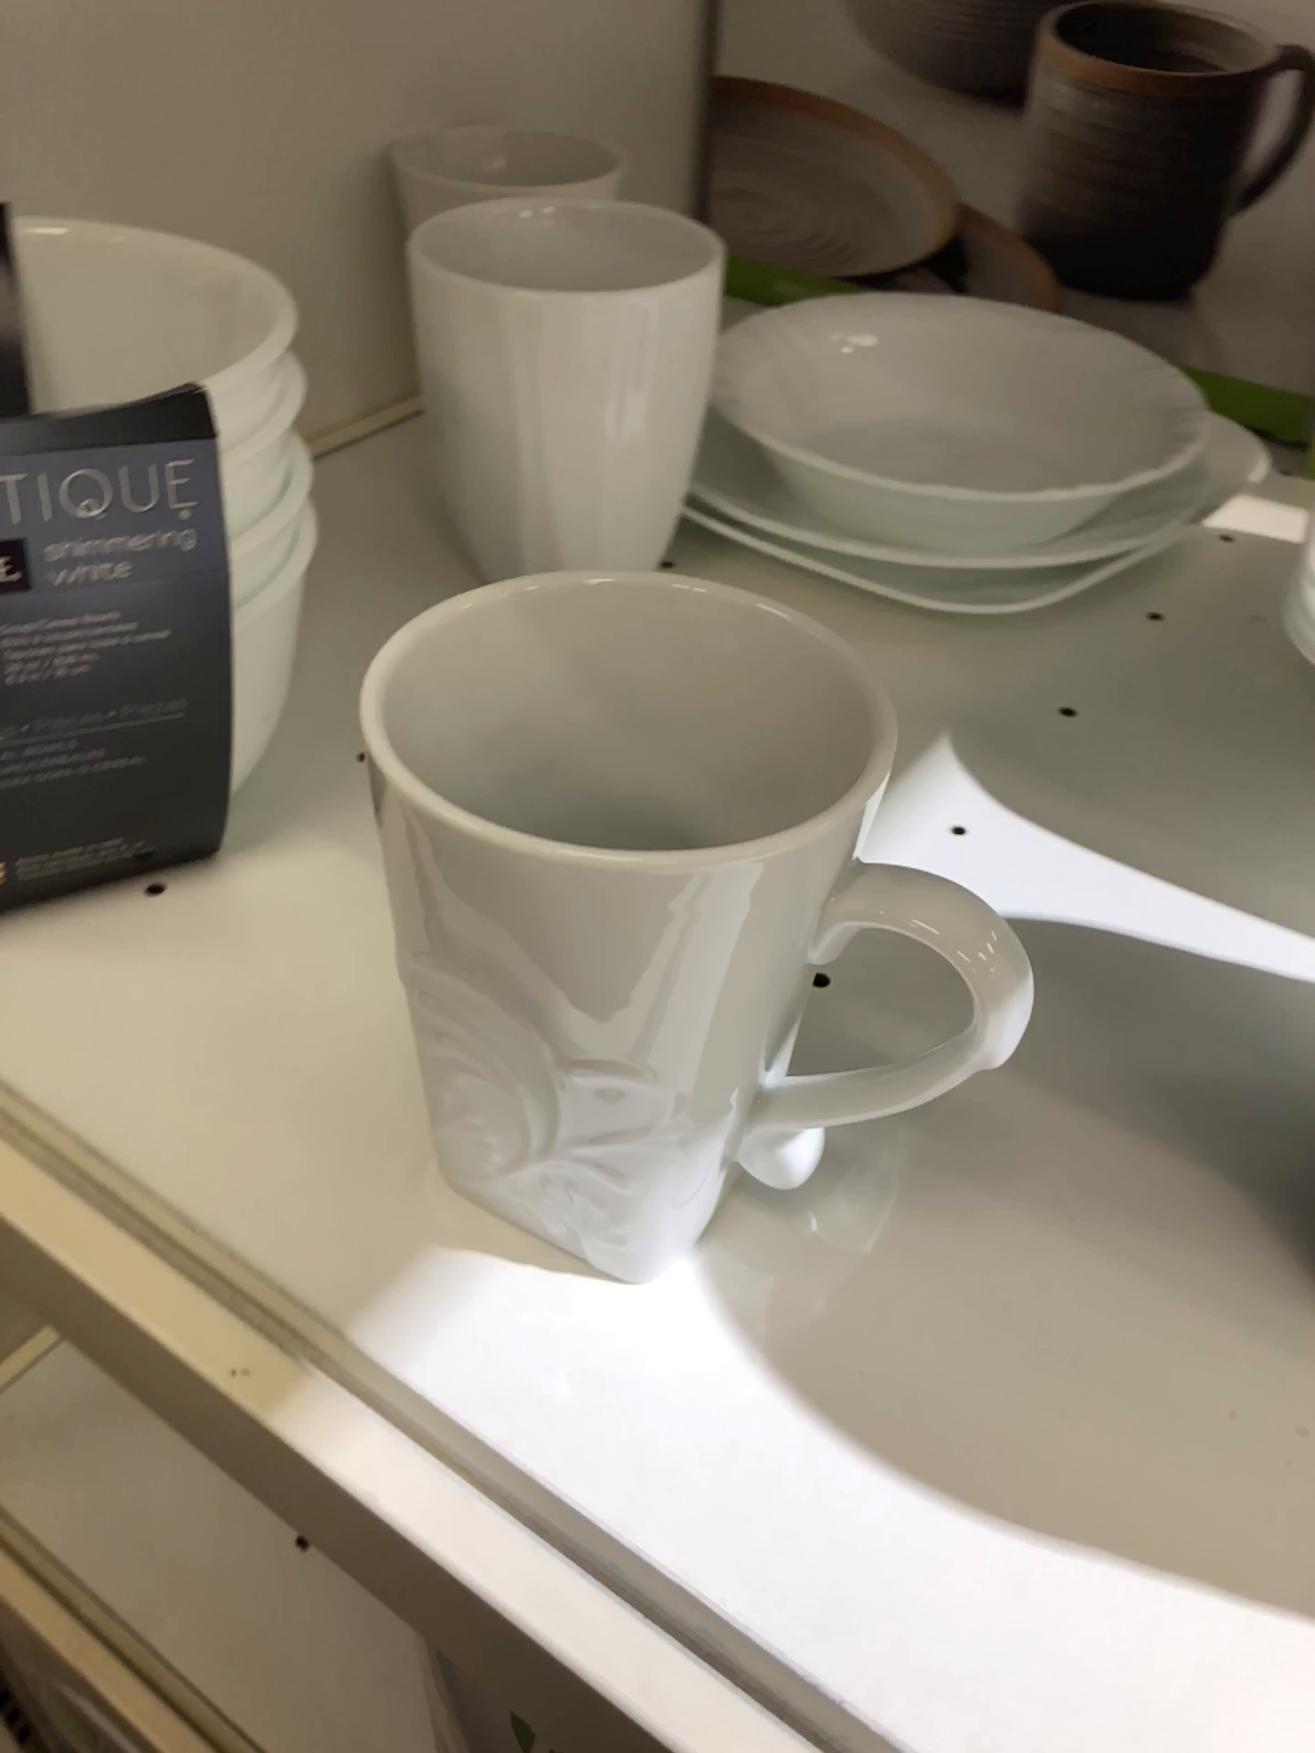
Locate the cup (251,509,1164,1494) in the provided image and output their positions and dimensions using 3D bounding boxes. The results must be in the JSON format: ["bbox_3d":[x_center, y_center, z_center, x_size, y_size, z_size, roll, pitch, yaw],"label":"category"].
[{"bbox_3d":[0.006,0.017,0.266,0.115,0.113,0.086,26,45,25],"label":"cup"}]
